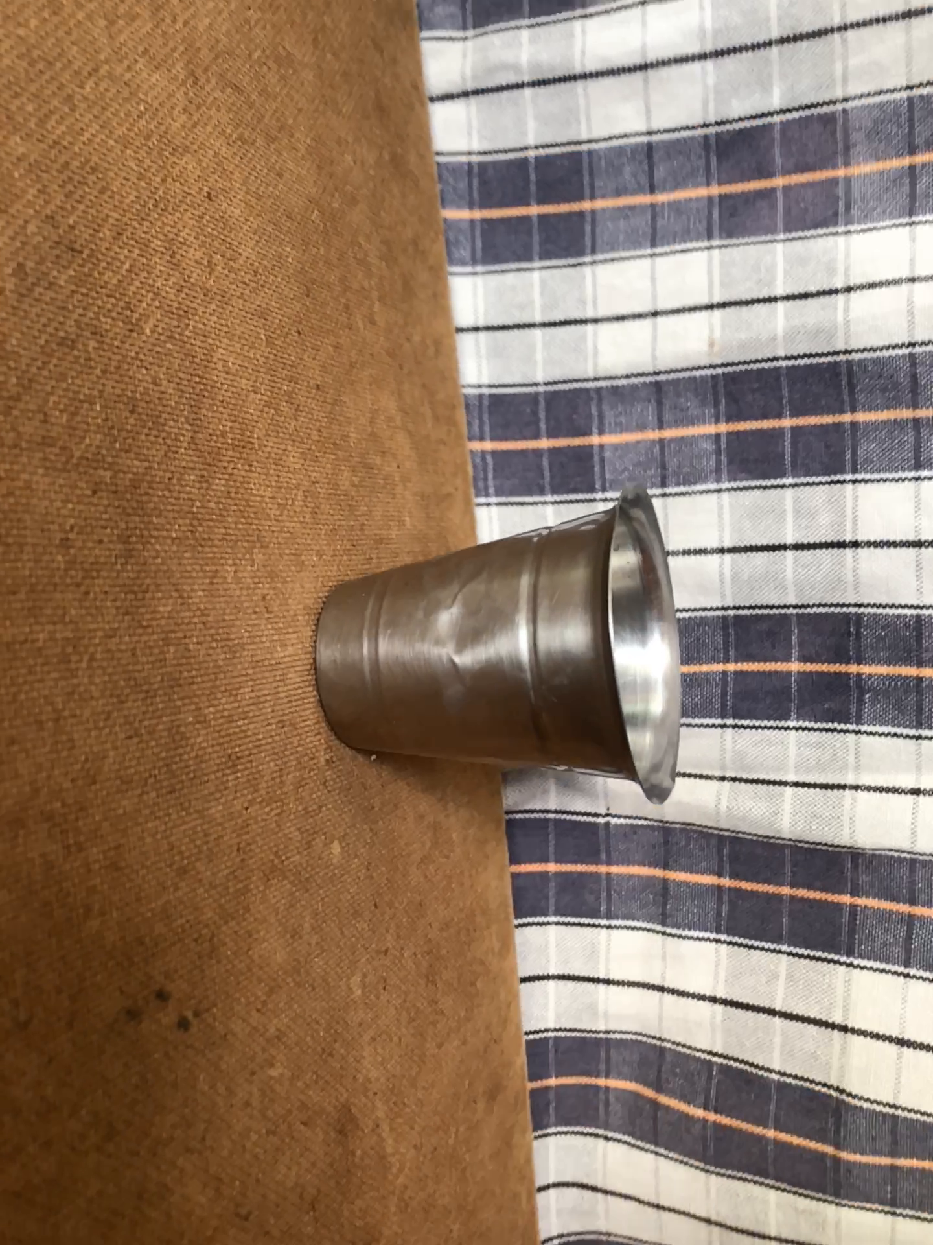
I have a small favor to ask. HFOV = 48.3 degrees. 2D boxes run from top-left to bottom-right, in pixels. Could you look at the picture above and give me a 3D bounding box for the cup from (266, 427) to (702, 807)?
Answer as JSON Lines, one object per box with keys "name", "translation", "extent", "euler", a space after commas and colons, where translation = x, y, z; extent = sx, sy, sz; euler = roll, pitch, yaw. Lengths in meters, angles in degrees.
{"name": "cup", "translation": [0.009, 0.004, 0.250], "extent": [0.070, 0.080, 0.060], "euler": [50, 39, -57]}
